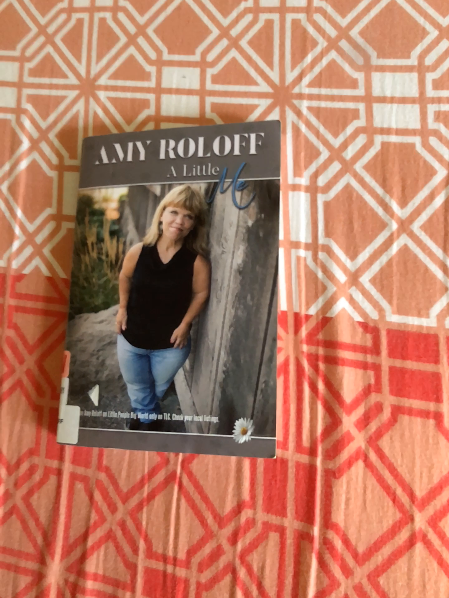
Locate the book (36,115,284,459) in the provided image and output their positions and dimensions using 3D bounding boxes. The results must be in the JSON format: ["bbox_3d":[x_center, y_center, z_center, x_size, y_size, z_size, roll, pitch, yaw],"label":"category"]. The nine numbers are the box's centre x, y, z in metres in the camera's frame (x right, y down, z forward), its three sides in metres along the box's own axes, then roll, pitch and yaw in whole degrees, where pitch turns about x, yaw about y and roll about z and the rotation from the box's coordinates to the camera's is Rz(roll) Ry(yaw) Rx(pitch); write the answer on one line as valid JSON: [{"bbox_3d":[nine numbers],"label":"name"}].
[{"bbox_3d":[-0.041,-0.010,0.340,0.158,0.030,0.215,0,83,12],"label":"book"}]
